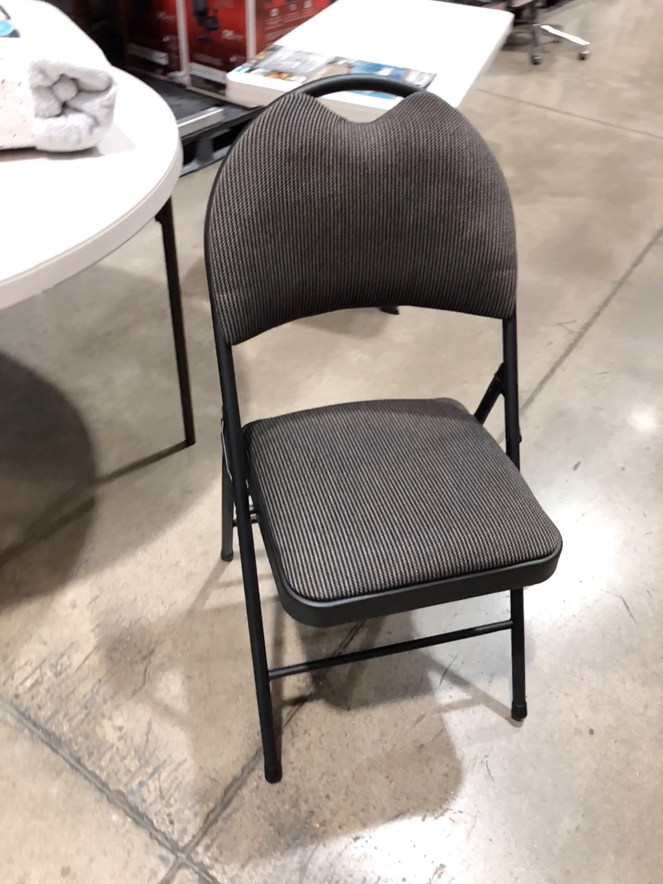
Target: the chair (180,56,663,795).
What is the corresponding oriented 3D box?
[{"bbox_3d":[0.092,-0.004,1.056,0.510,0.857,0.562,-6,44,-13],"label":"chair"}]
